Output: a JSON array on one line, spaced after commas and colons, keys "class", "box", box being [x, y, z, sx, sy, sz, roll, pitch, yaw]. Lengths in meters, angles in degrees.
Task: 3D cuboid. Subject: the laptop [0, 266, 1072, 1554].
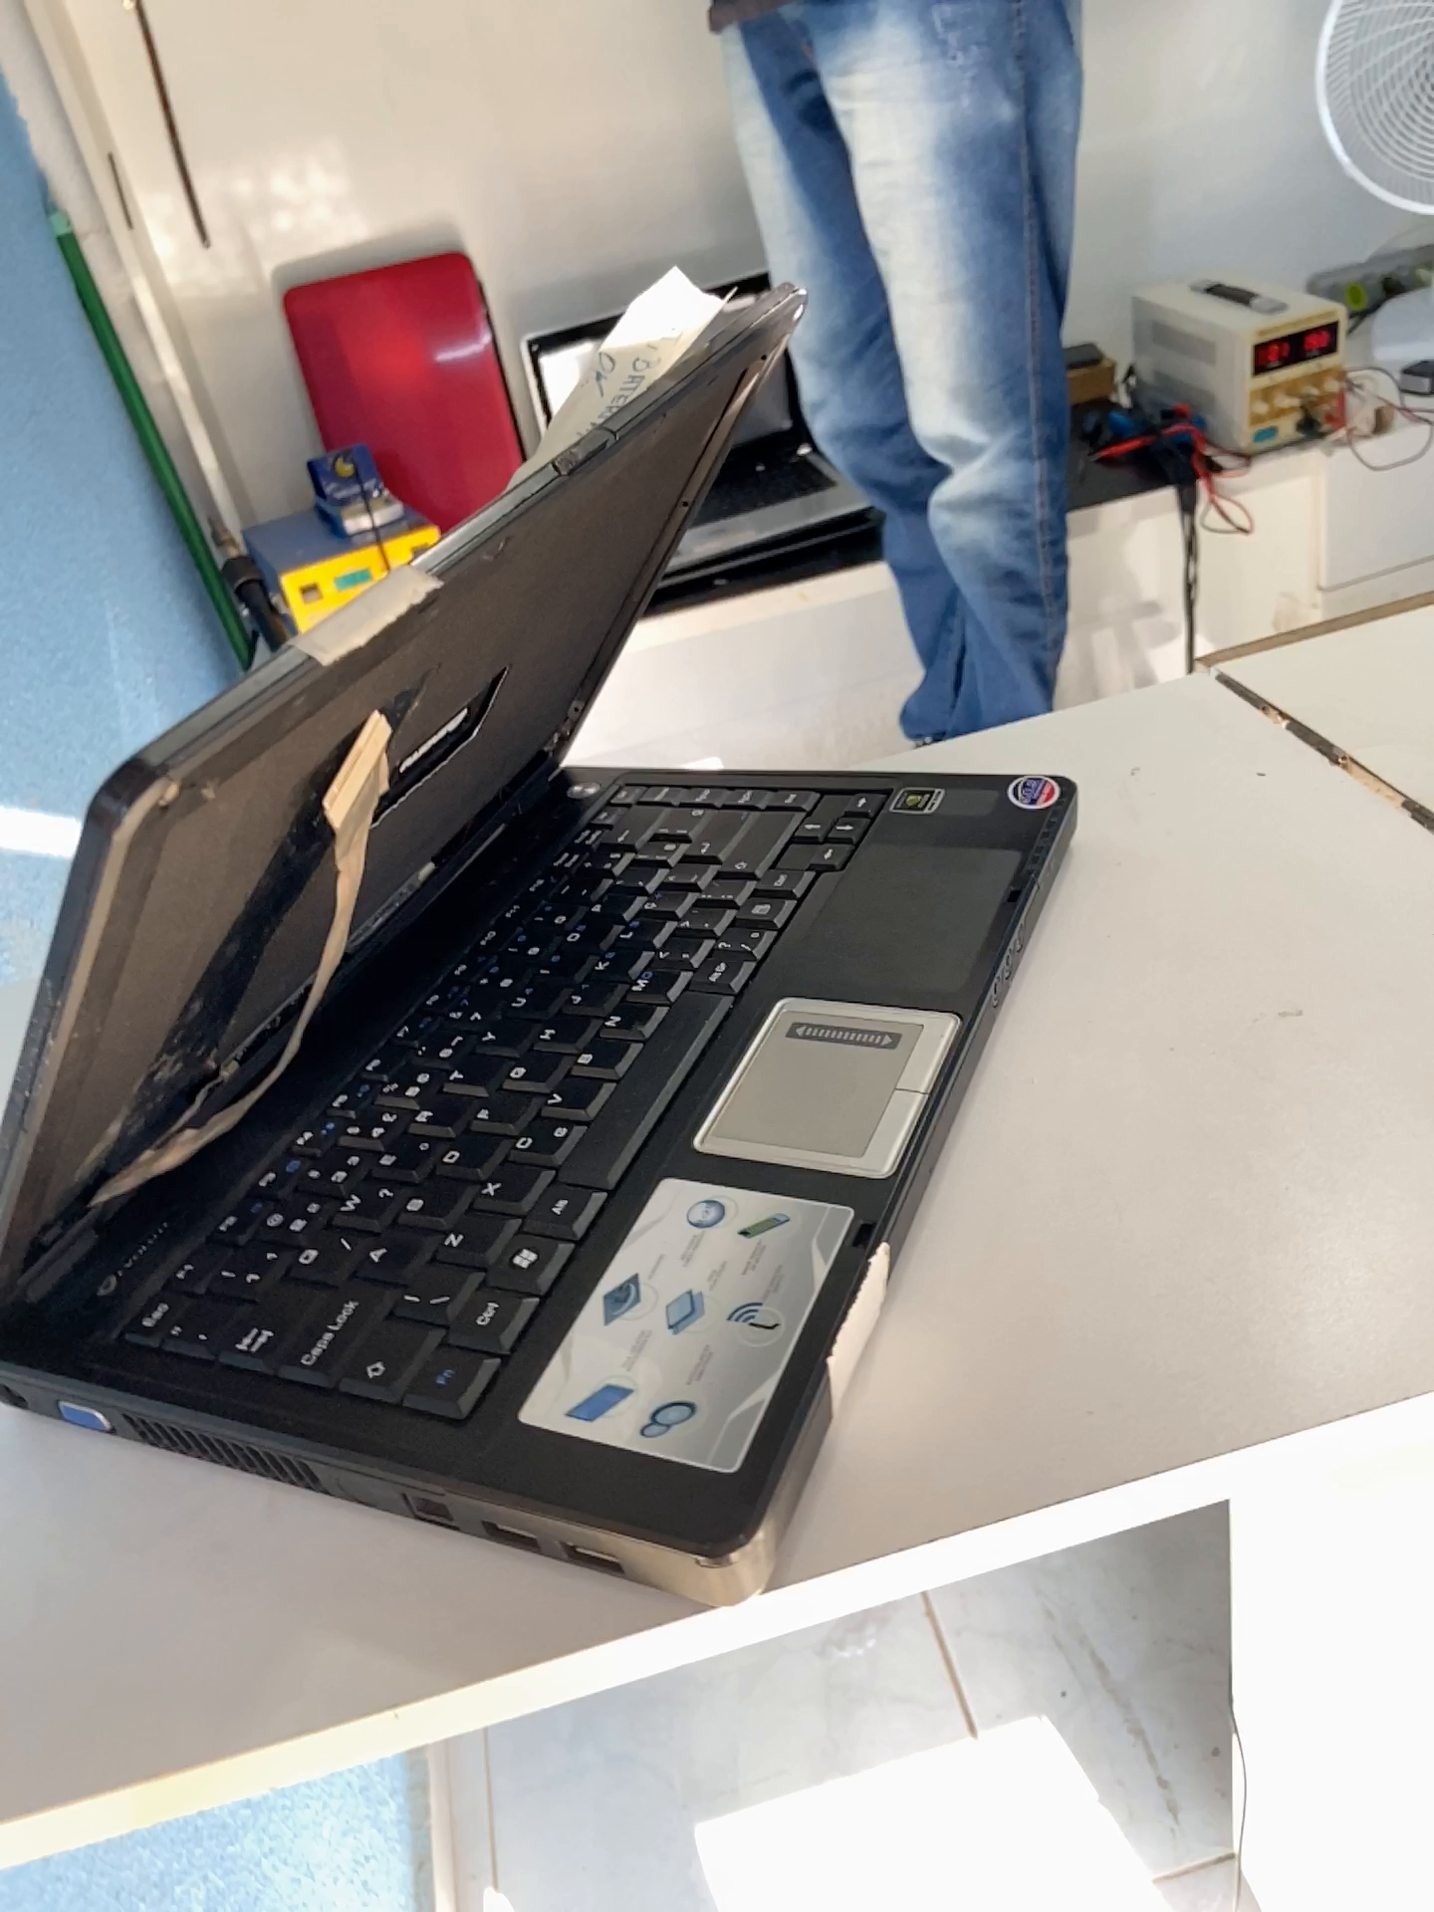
[{"class": "laptop", "box": [-0.051, -0.051, 0.423, 0.224, 0.175, 0.330, 3, 36, 26]}]
